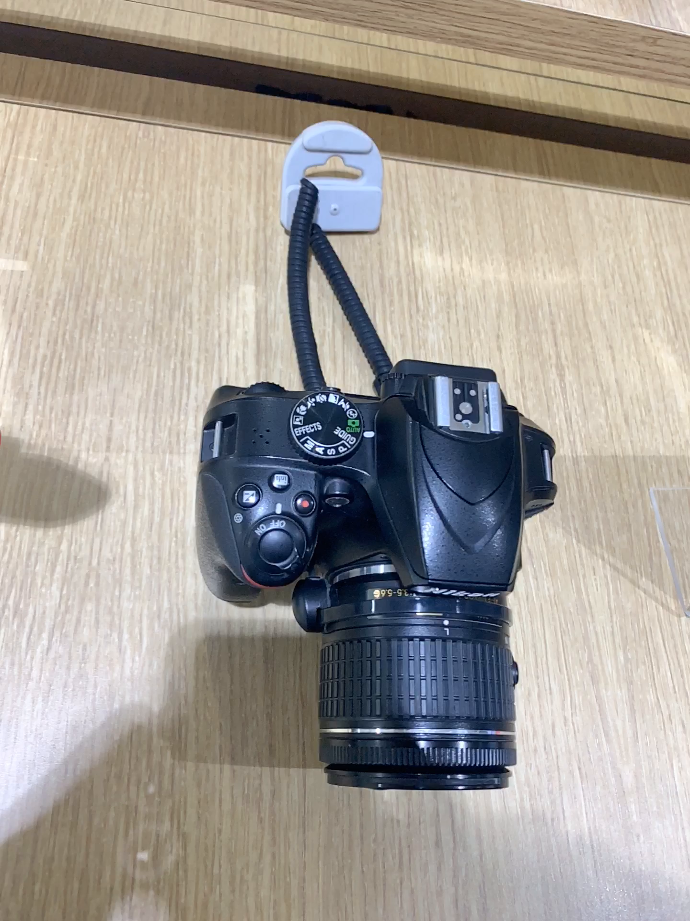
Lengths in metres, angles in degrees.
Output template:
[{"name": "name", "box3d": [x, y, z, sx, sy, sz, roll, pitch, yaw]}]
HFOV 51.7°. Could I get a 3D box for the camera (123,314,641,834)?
[{"name": "camera", "box3d": [0.001, 0.039, 0.227, 0.120, 0.090, 0.130, 3, 66, -11]}]
